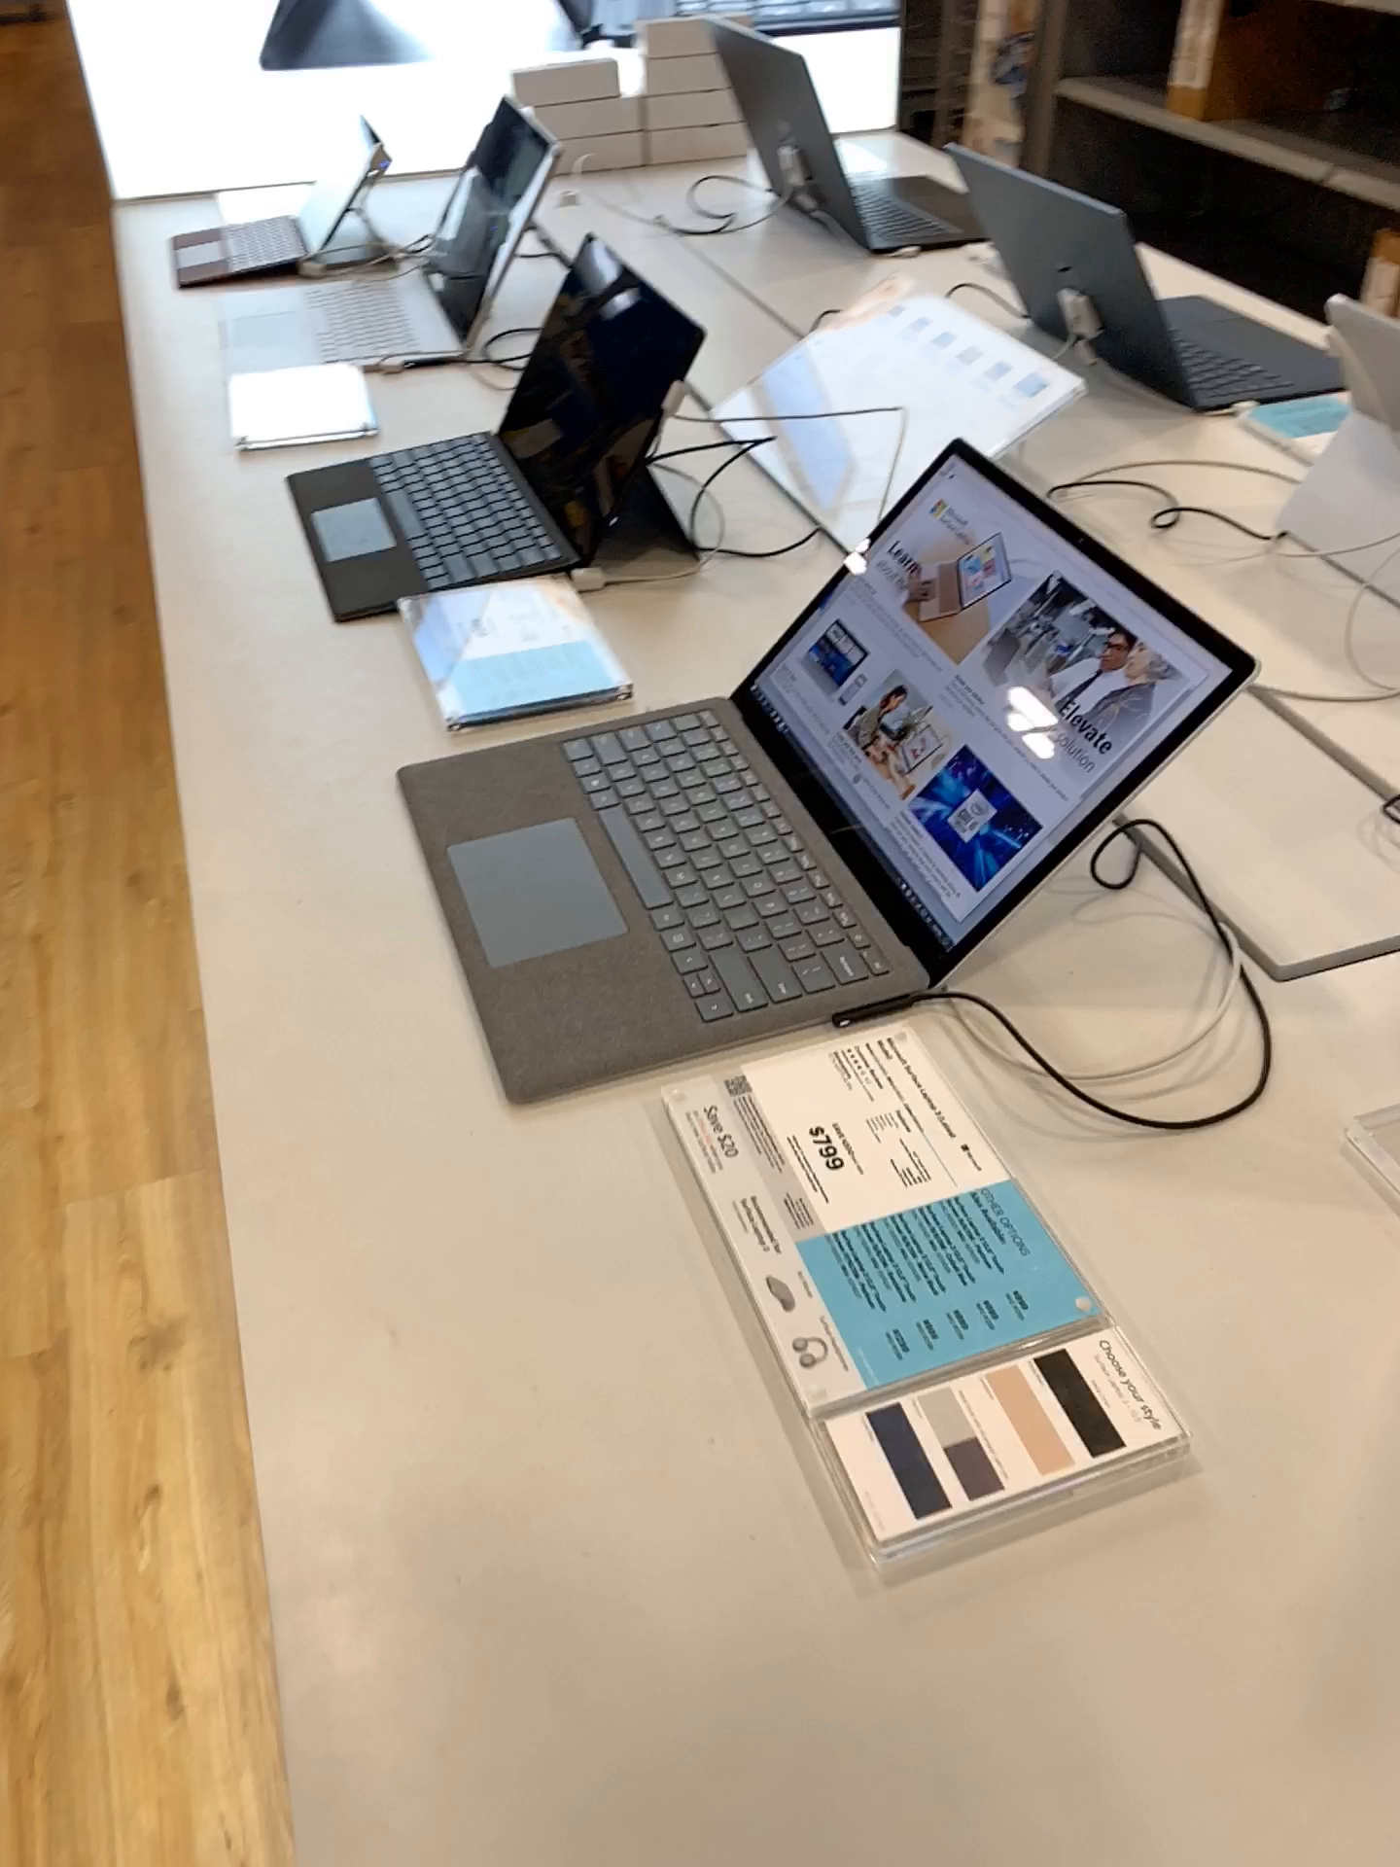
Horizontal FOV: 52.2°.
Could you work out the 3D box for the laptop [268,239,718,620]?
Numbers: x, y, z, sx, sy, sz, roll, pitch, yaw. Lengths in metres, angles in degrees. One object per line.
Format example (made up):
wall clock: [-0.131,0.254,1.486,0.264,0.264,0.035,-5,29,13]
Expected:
laptop: [-0.169,-0.417,1.144,0.290,0.157,0.290,-15,41,-15]

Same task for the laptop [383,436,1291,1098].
laptop: [0.048,-0.114,0.774,0.374,0.148,0.297,-14,41,-12]
